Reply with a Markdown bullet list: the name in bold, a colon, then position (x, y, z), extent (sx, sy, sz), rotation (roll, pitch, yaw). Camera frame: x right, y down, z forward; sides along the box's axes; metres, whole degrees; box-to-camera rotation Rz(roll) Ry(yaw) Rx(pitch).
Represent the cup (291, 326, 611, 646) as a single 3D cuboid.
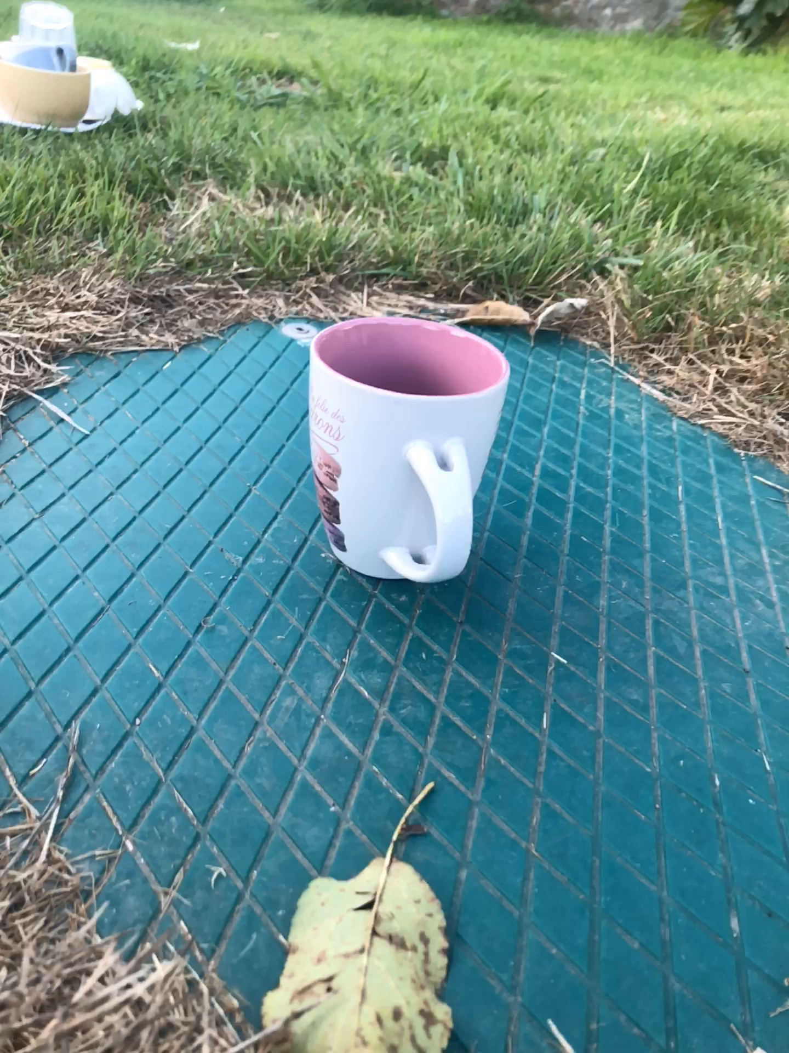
- **cup**: position (0.016, -0.026, 0.393), extent (0.095, 0.091, 0.121), rotation (-5, 33, -20)
